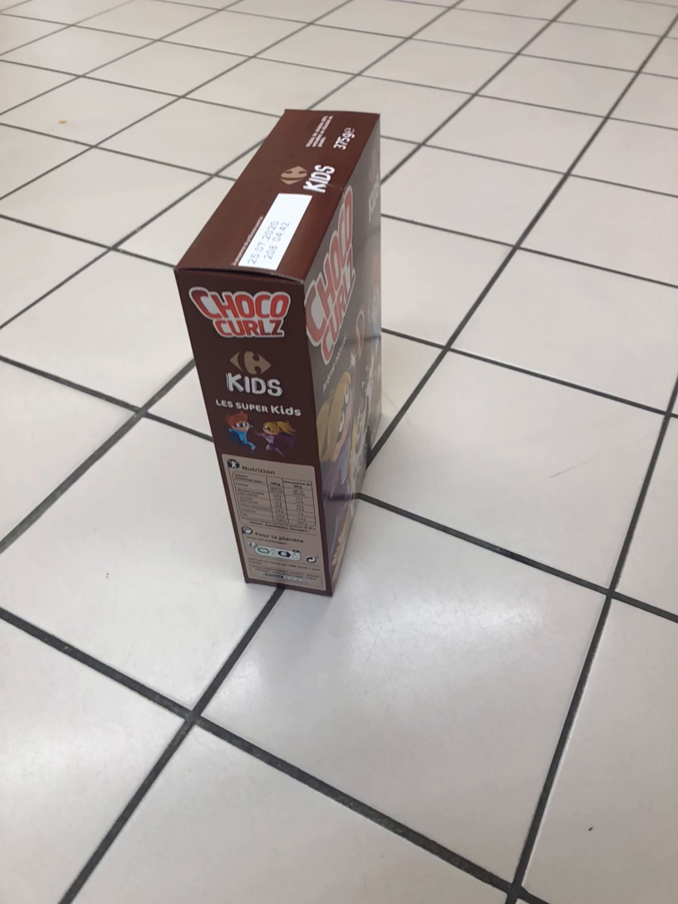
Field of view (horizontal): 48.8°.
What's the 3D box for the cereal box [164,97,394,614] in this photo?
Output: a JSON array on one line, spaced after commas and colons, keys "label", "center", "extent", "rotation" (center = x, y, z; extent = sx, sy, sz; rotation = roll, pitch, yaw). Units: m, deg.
[{"label": "cereal box", "center": [-0.020, -0.058, 0.487], "extent": [0.070, 0.258, 0.201], "rotation": [8, 46, 9]}]
